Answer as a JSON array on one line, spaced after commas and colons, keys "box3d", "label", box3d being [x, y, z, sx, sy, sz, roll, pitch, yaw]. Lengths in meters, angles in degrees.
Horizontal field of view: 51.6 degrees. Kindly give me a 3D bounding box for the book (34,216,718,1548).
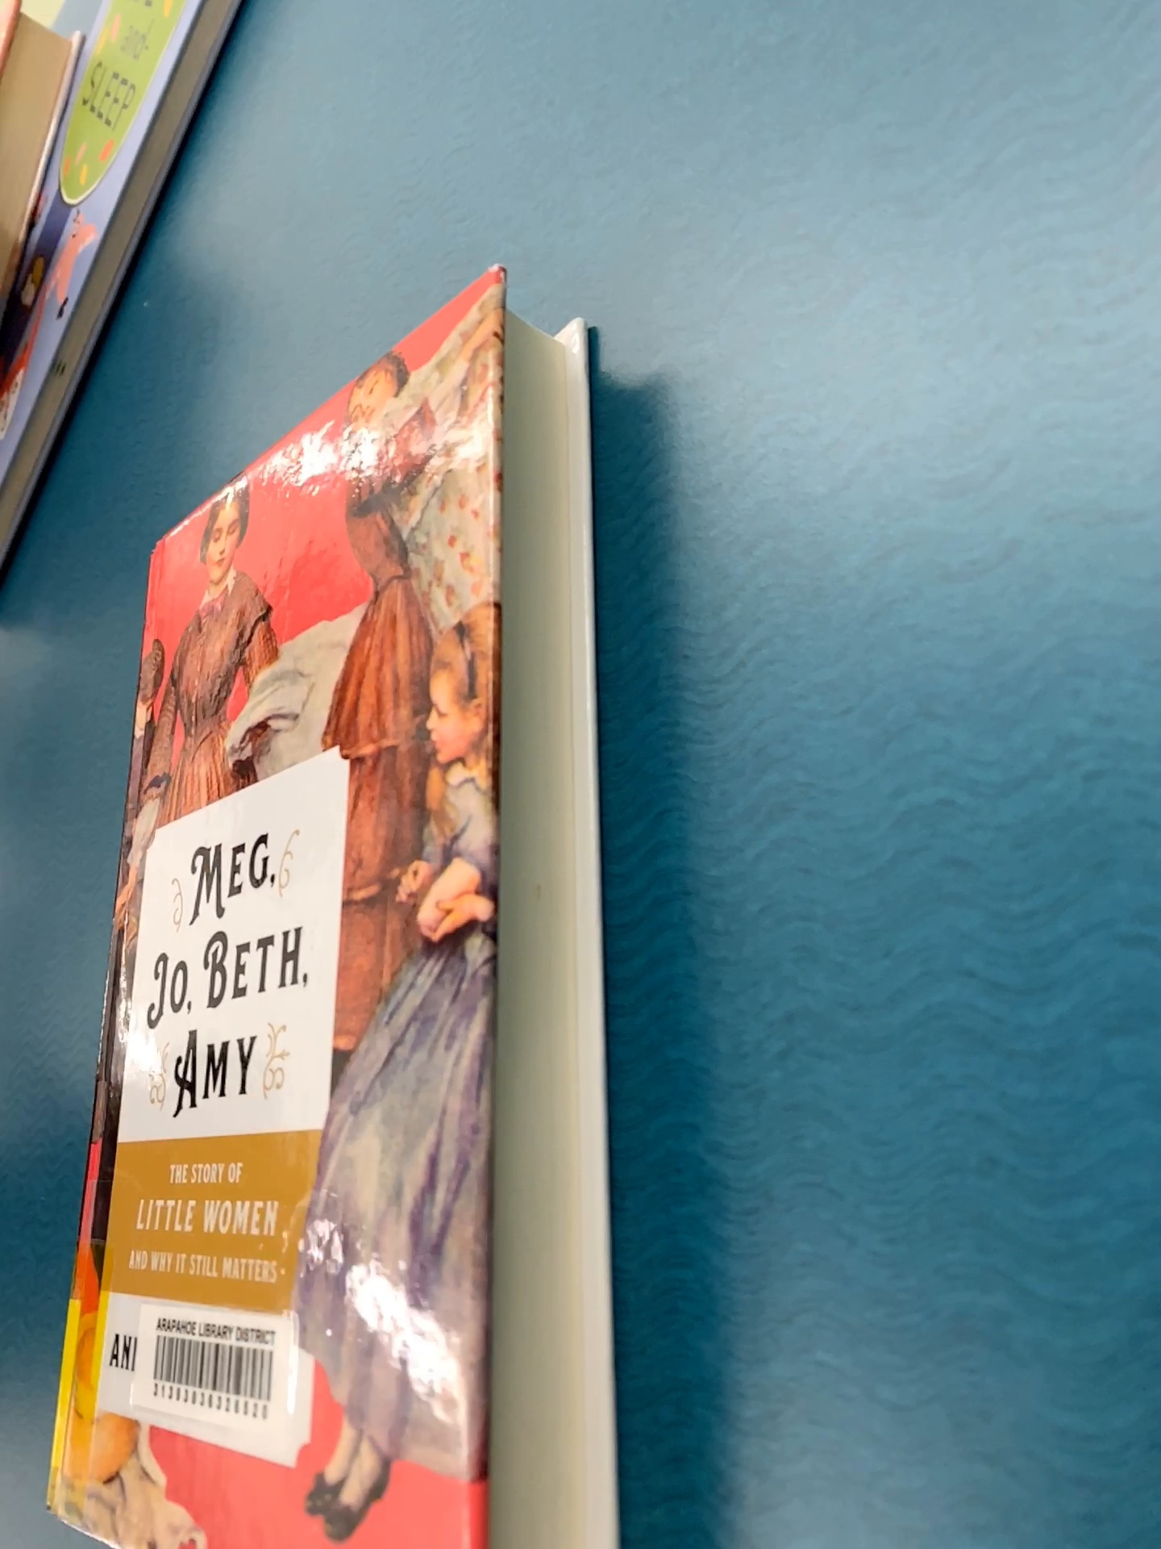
[{"box3d": [-0.047, 0.029, 0.234, 0.141, 0.040, 0.220, -20, 65, 43], "label": "book"}]
